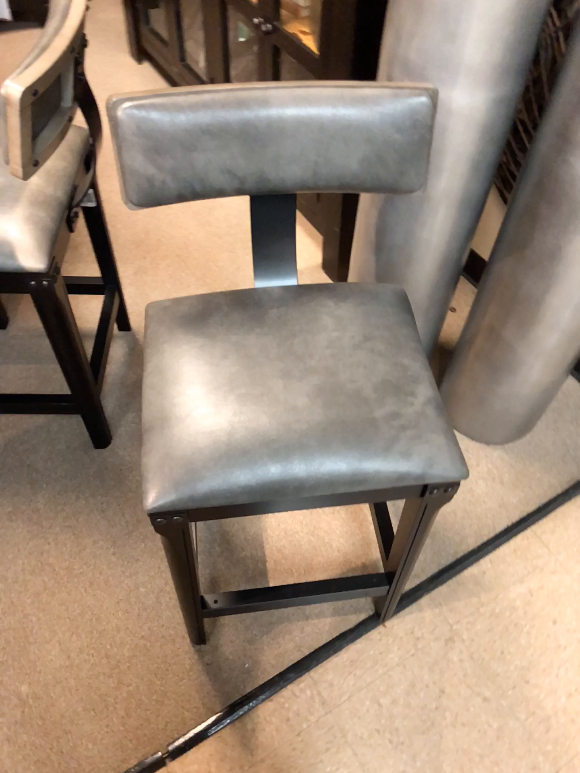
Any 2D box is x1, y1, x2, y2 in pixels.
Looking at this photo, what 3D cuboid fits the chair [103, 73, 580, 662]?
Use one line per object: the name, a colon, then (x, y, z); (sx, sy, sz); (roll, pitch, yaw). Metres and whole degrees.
chair: (0.012, 0.052, 1.012); (0.440, 0.865, 0.463); (-5, 53, -8)
